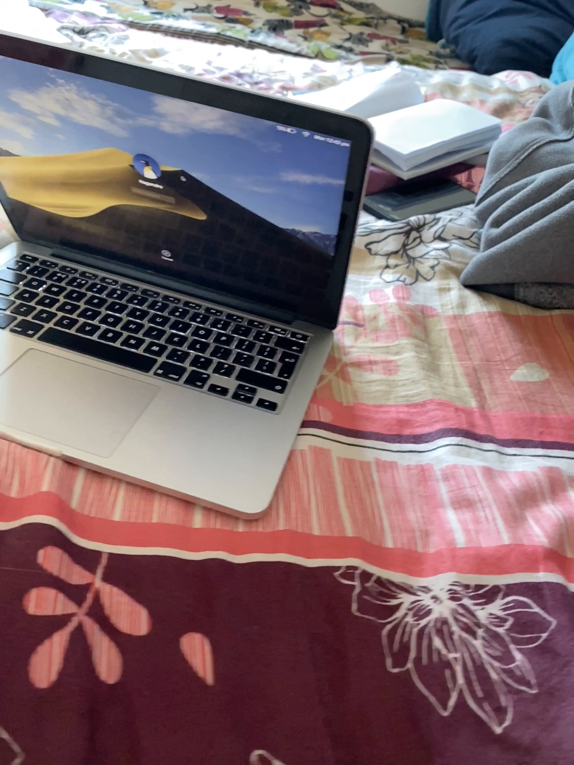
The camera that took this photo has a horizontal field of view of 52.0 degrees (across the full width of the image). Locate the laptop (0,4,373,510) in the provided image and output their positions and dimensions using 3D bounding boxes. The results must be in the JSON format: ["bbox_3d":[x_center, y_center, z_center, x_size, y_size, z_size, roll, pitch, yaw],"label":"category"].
[{"bbox_3d":[-0.127,-0.098,0.389,0.303,0.191,0.203,16,41,9],"label":"laptop"}]
